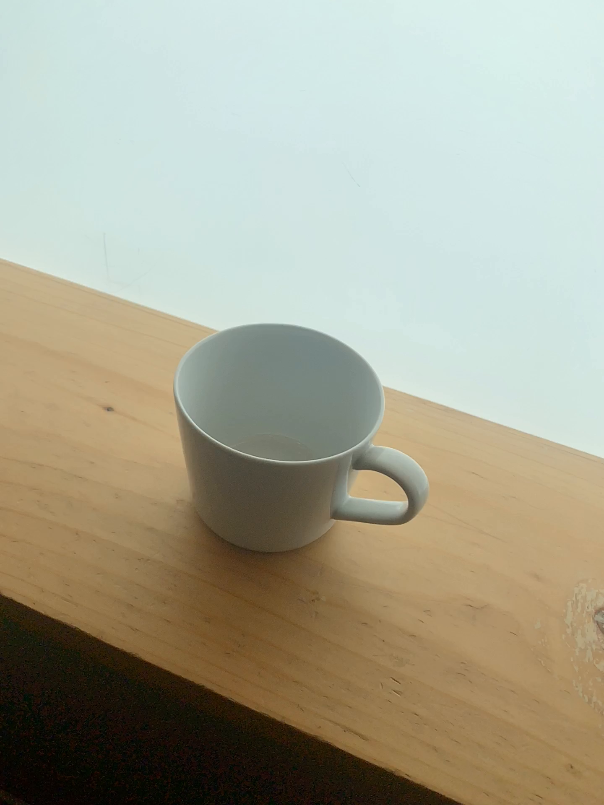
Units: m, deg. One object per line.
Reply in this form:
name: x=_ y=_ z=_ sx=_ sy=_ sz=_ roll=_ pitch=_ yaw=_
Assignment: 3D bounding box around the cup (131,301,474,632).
cup: x=-0.001 y=0.026 z=0.312 sx=0.130 sy=0.080 sz=0.090 roll=25 pitch=45 yaw=17
